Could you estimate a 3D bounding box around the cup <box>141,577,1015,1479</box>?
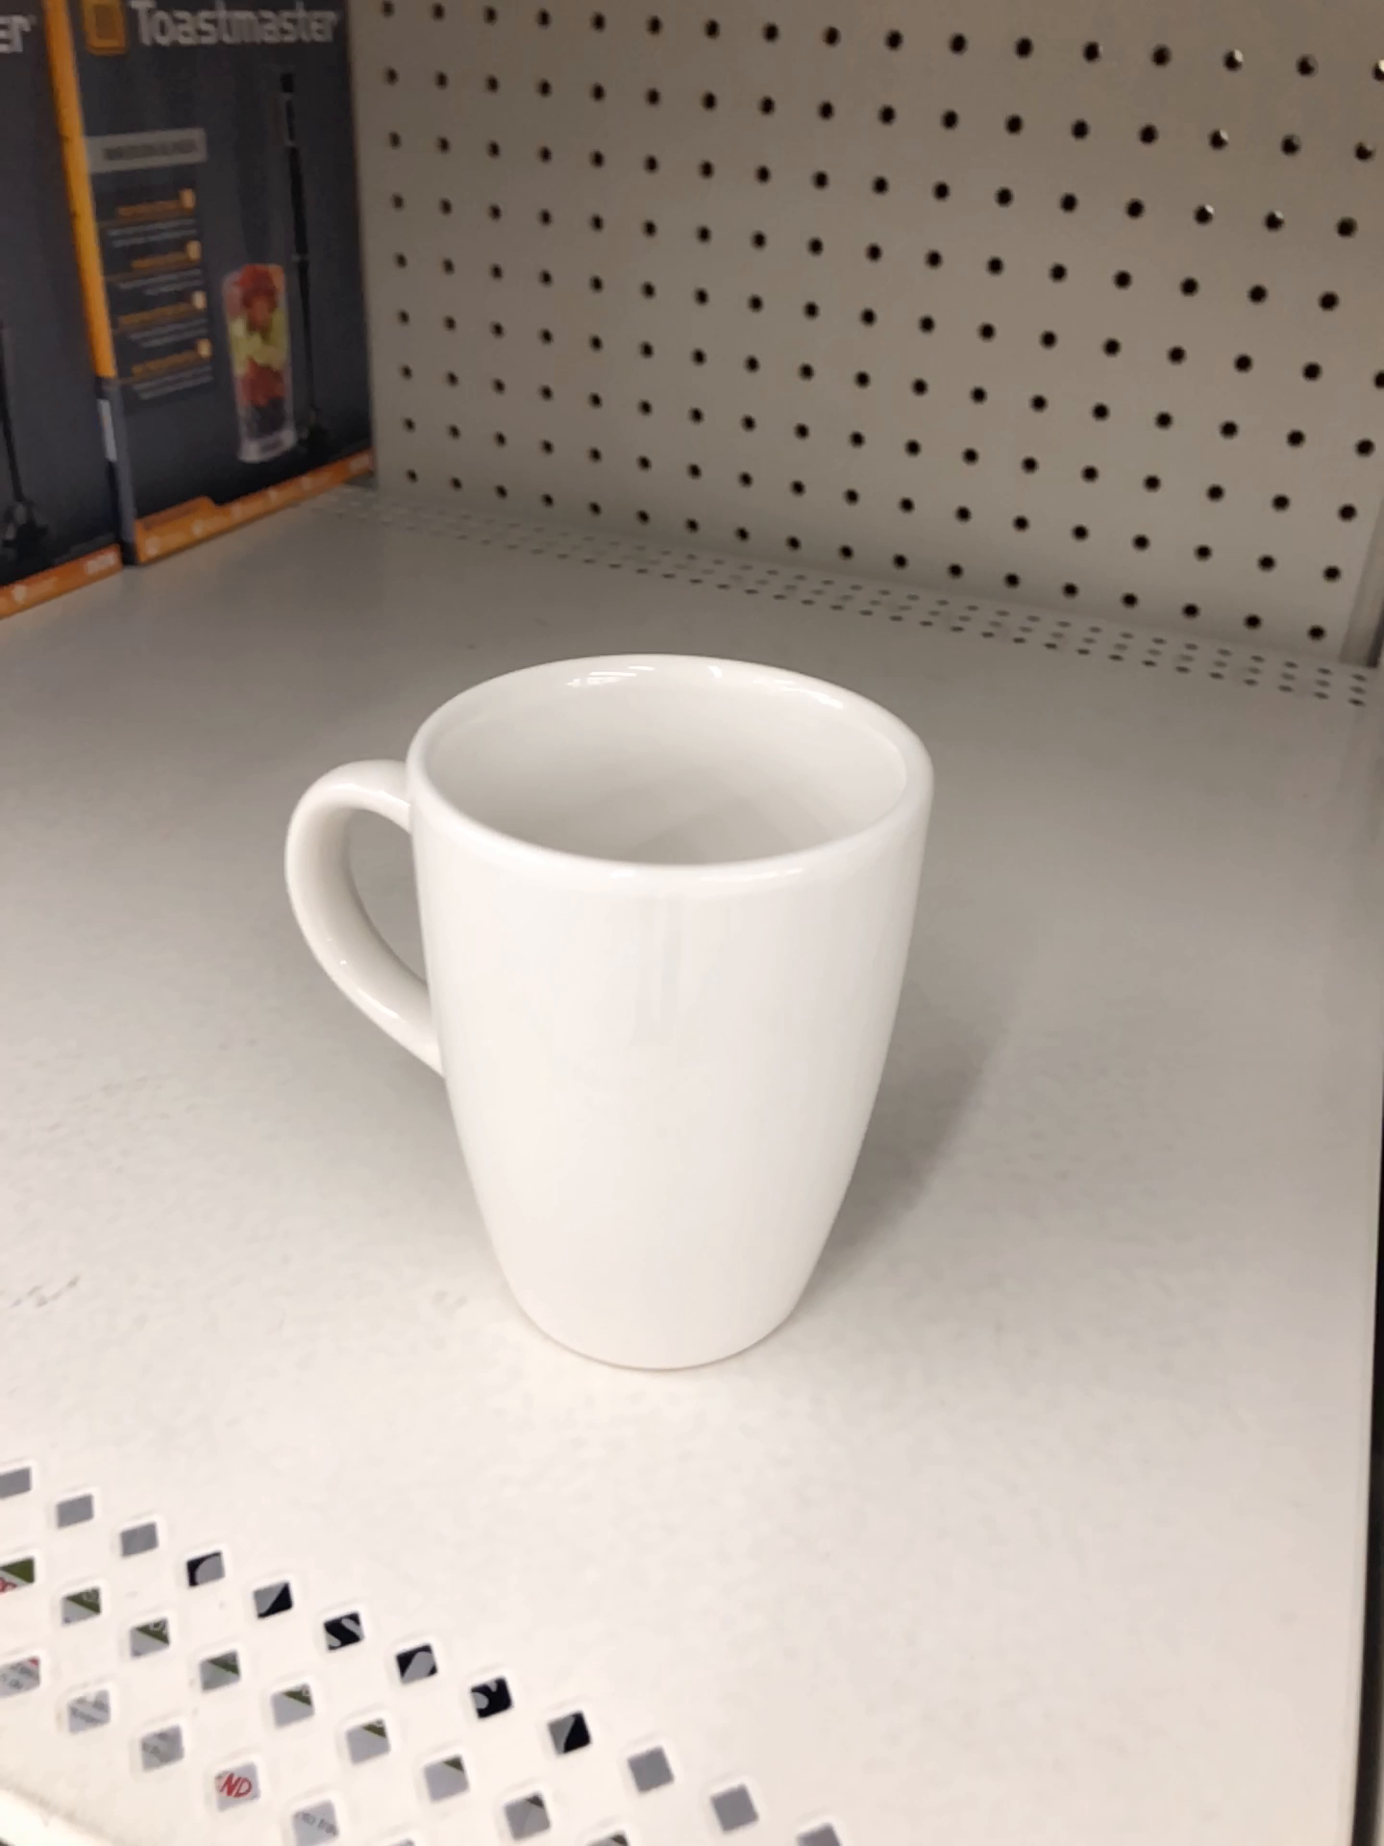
[{"bbox_3d":[-0.022,0.010,0.287,0.126,0.105,0.081,22,36,28],"label":"cup"}]
